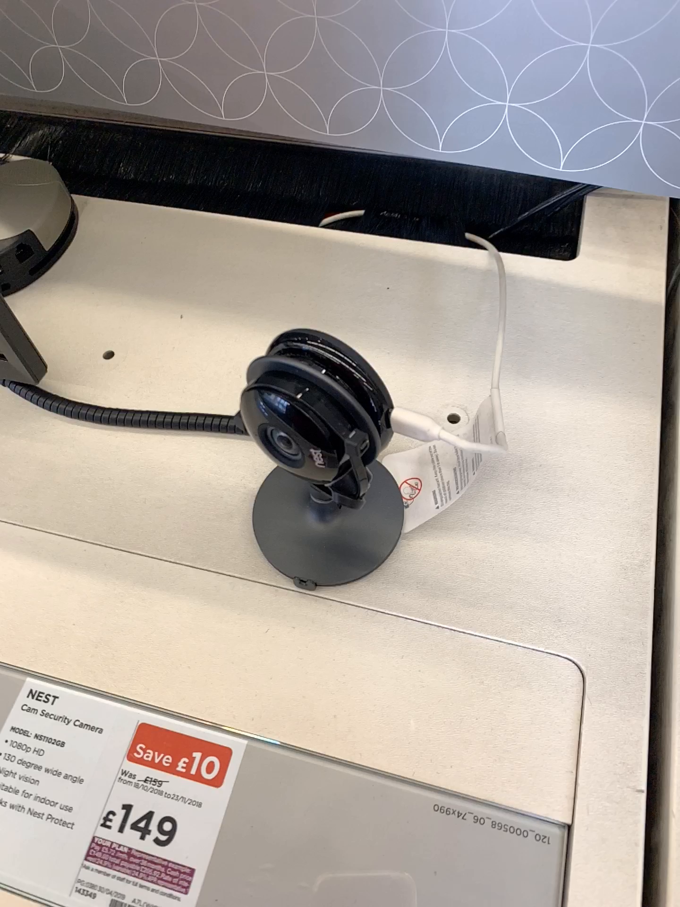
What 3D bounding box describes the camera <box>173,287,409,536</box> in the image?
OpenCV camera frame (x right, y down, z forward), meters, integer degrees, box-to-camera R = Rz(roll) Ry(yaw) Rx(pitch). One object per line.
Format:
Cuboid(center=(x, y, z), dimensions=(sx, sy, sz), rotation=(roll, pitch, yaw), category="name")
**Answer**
Cuboid(center=(-0.015, -0.015, 0.252), dimensions=(0.060, 0.050, 0.050), rotation=(28, 64, 20), category="camera")
